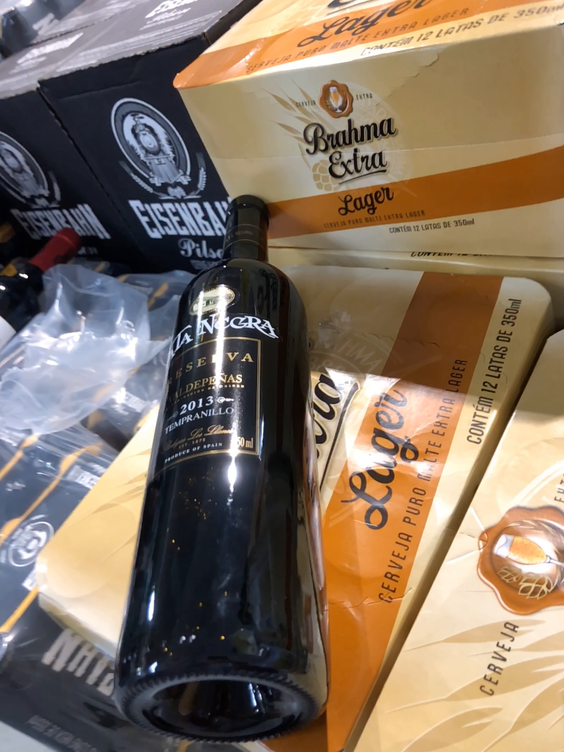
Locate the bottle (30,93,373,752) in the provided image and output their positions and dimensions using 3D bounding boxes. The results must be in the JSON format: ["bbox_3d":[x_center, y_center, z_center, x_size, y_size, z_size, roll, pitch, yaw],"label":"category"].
[{"bbox_3d":[-0.024,-0.027,0.335,0.080,0.079,0.382,-17,42,15],"label":"bottle"}]
